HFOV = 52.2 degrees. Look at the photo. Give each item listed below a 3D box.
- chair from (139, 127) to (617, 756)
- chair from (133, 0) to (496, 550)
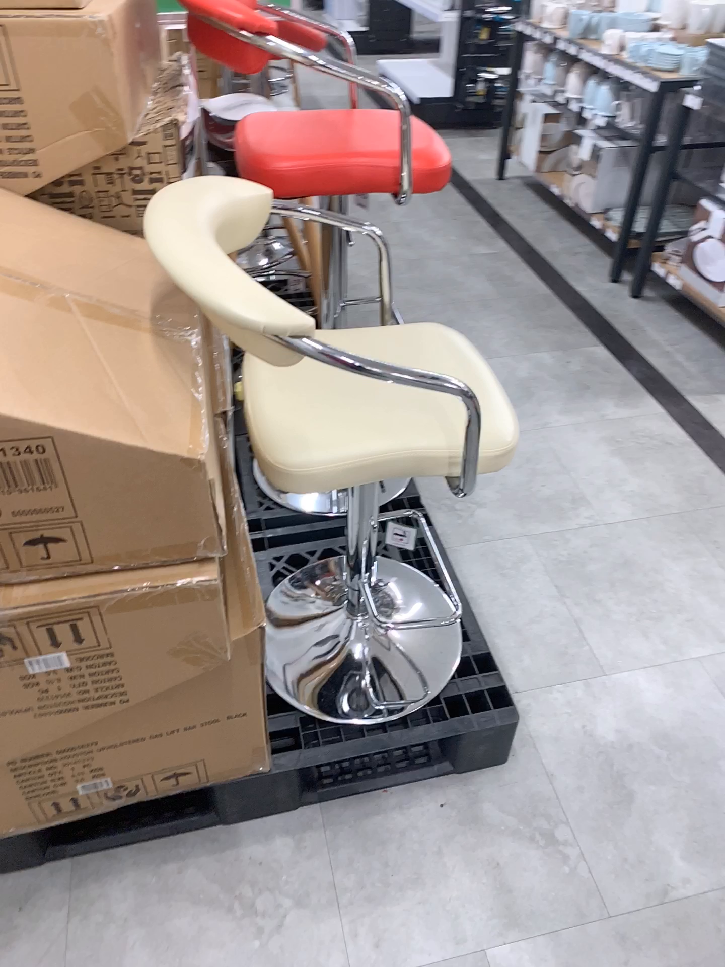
[{"bbox_3d":[-0.027,-0.048,1.192,0.499,0.841,0.468,-8,40,-10],"label":"chair"},{"bbox_3d":[-0.117,-0.442,1.558,0.519,1.059,0.478,-8,40,-10],"label":"chair"}]
